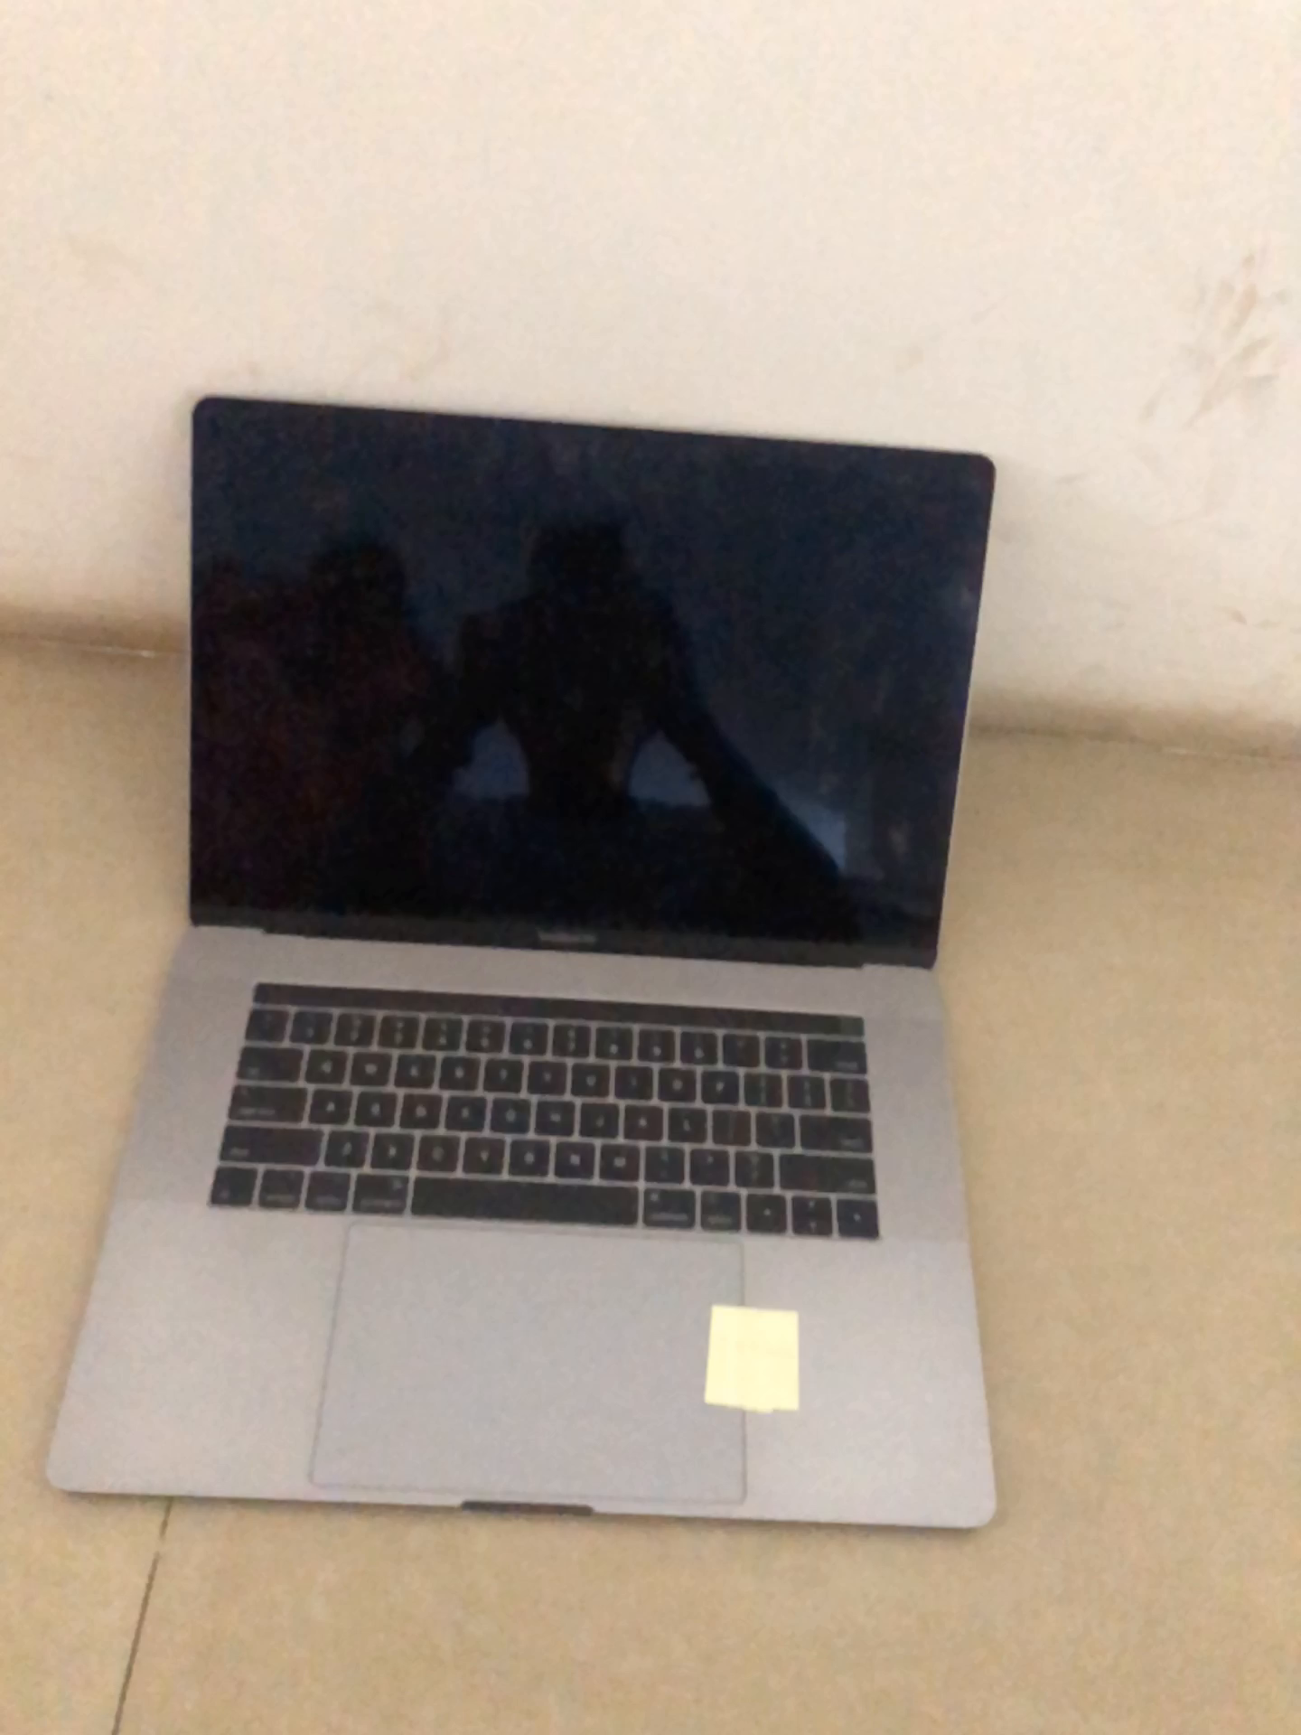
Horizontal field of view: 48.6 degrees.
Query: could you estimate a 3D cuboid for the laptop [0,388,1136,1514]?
[{"bbox_3d":[-0.035,0.019,0.557,0.329,0.163,0.382,4,56,-3],"label":"laptop"}]
